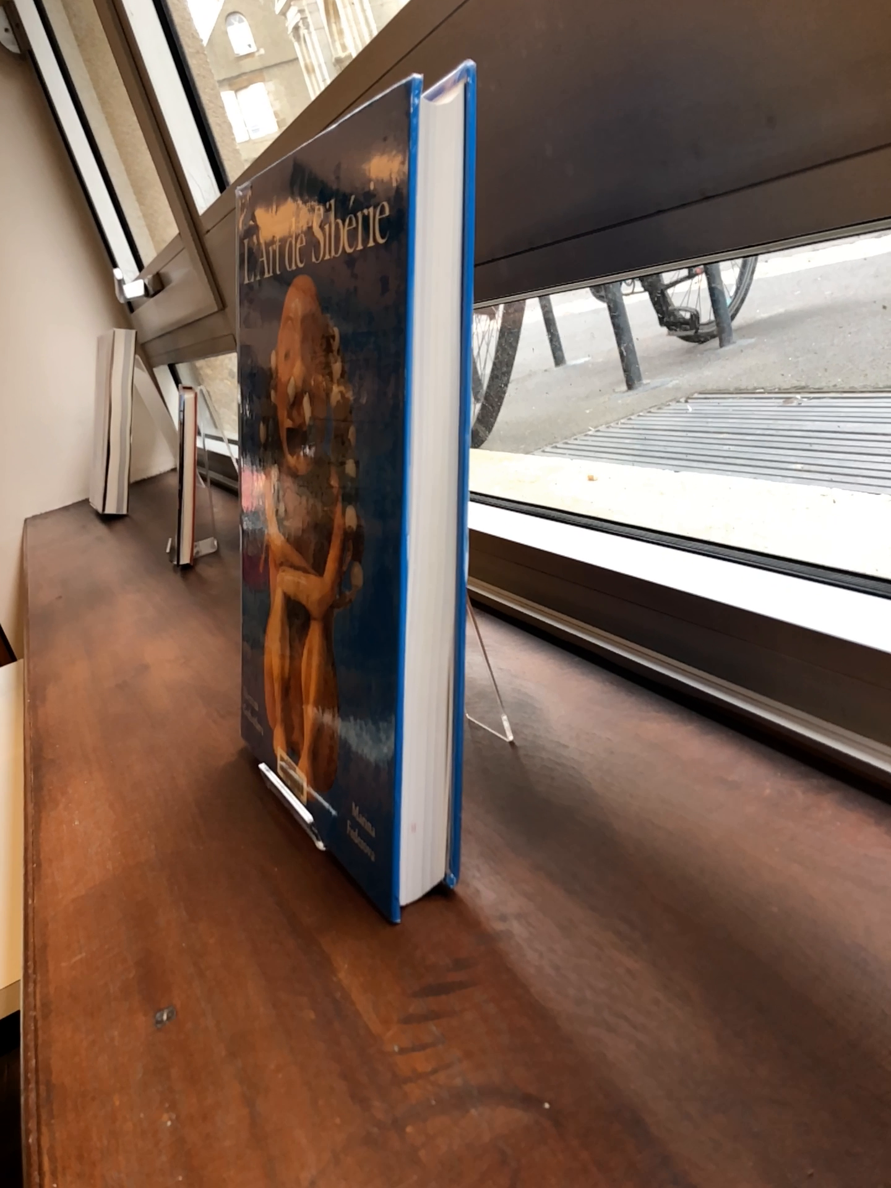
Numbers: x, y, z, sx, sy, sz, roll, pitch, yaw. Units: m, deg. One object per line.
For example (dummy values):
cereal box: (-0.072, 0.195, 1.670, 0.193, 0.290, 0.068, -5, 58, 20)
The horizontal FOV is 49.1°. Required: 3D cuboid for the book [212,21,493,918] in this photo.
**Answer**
book: (-0.058, -0.058, 0.503, 0.044, 0.349, 0.254, -6, 12, -27)
